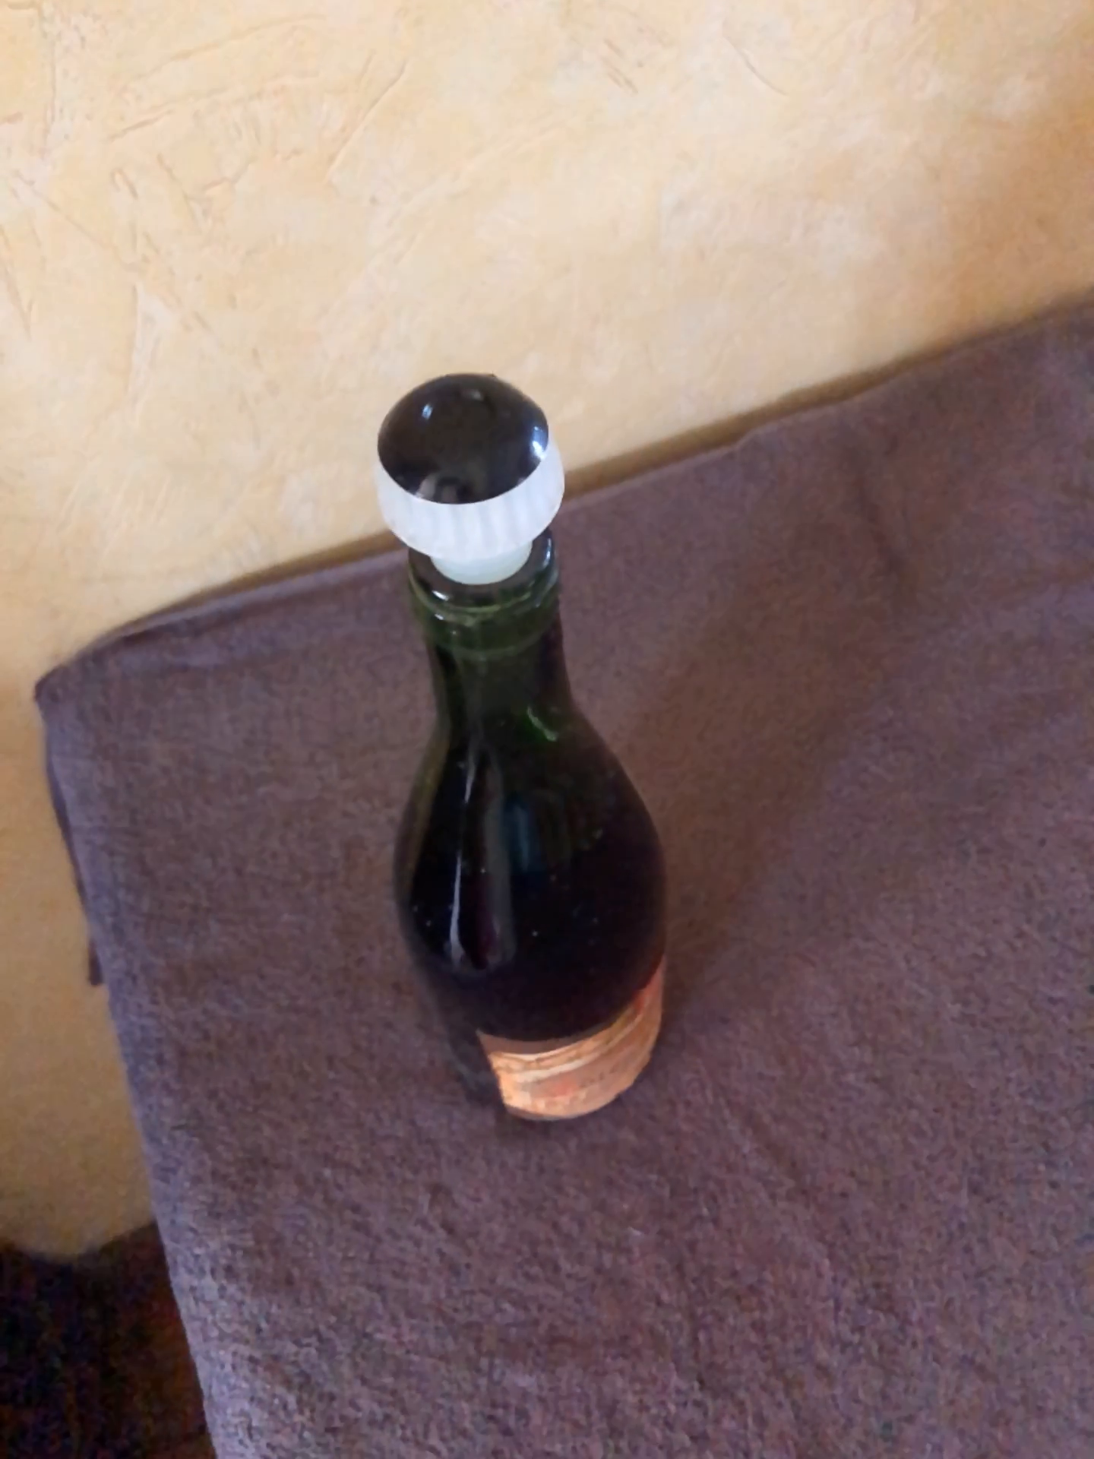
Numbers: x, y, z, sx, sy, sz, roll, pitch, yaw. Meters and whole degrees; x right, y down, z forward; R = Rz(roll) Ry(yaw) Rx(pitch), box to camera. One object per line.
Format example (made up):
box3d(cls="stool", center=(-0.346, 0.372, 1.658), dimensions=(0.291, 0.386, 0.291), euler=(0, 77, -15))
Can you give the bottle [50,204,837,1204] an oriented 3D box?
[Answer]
box3d(cls="bottle", center=(-0.008, 0.034, 0.329), dimensions=(0.090, 0.309, 0.090), euler=(-2, 59, 3))
